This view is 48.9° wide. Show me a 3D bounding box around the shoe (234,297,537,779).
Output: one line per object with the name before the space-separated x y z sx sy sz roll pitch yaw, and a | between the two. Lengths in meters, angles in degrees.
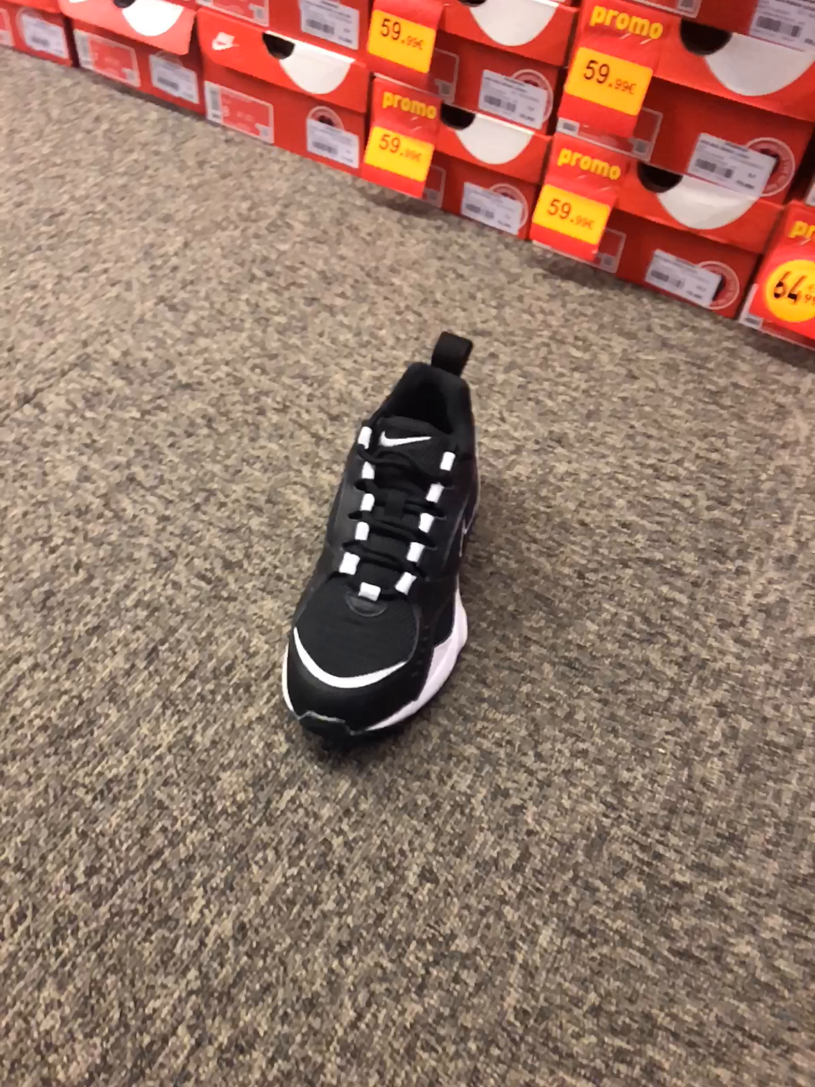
shoe | -0.003 -0.015 0.535 0.104 0.109 0.262 13 52 5
